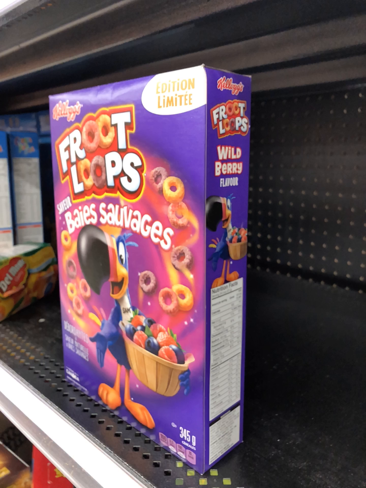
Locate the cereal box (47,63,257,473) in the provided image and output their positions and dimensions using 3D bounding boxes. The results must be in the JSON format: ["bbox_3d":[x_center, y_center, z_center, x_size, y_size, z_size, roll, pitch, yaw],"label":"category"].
[{"bbox_3d":[-0.039,0.011,0.370,0.050,0.289,0.210,-11,16,-44],"label":"cereal box"}]
